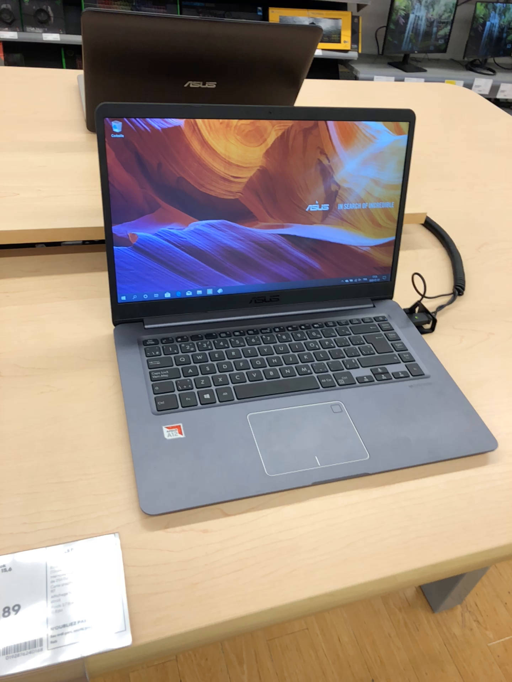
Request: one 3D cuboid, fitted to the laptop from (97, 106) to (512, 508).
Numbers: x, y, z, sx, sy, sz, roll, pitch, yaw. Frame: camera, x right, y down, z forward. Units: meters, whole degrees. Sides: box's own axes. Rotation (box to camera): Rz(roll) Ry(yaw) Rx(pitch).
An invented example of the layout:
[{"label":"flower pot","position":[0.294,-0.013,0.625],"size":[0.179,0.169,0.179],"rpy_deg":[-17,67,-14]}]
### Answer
[{"label":"laptop","position":[0.046,-0.062,0.573],"size":[0.361,0.223,0.318],"rpy_deg":[-6,44,-17]}]
